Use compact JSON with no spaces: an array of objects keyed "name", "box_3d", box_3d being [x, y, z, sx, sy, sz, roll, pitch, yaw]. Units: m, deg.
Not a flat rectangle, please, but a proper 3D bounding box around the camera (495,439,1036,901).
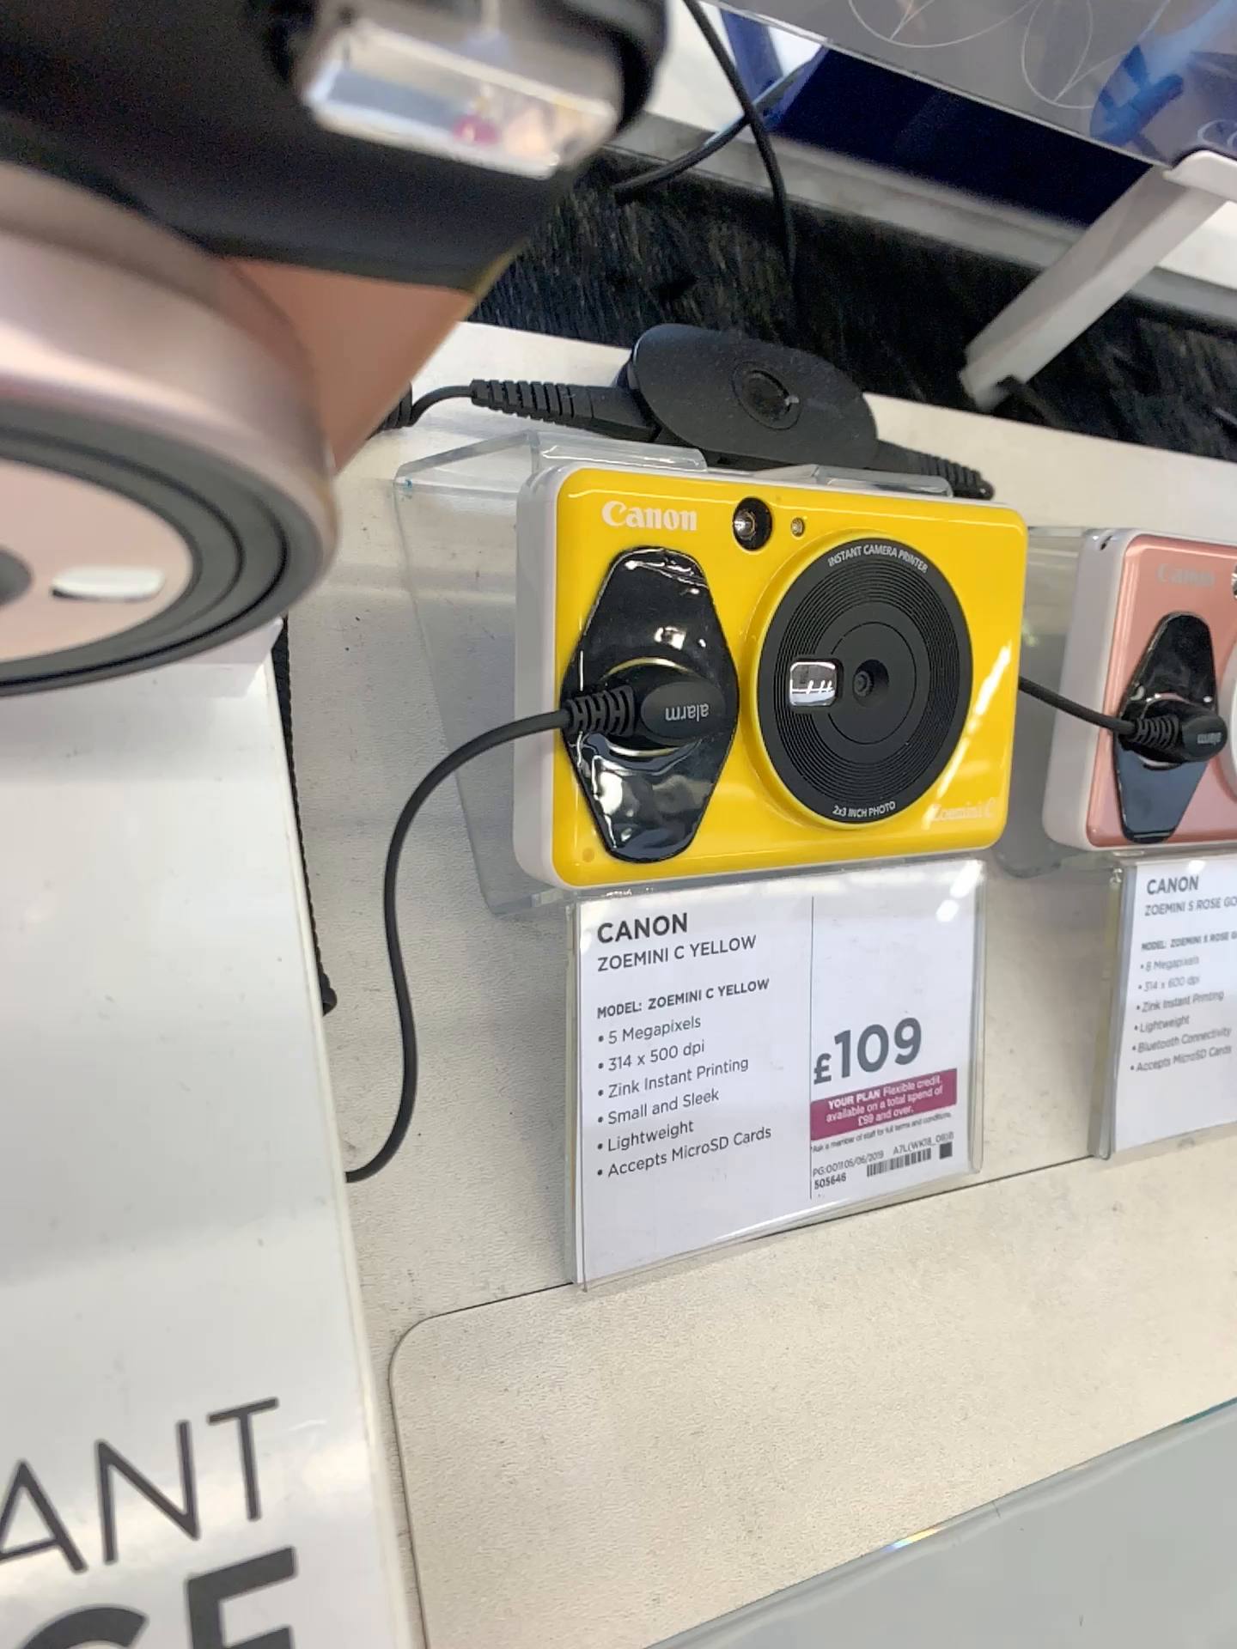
[{"name":"camera","box_3d":[0.034,-0.031,0.263,0.121,0.020,0.080,-4,101,-32]}]
